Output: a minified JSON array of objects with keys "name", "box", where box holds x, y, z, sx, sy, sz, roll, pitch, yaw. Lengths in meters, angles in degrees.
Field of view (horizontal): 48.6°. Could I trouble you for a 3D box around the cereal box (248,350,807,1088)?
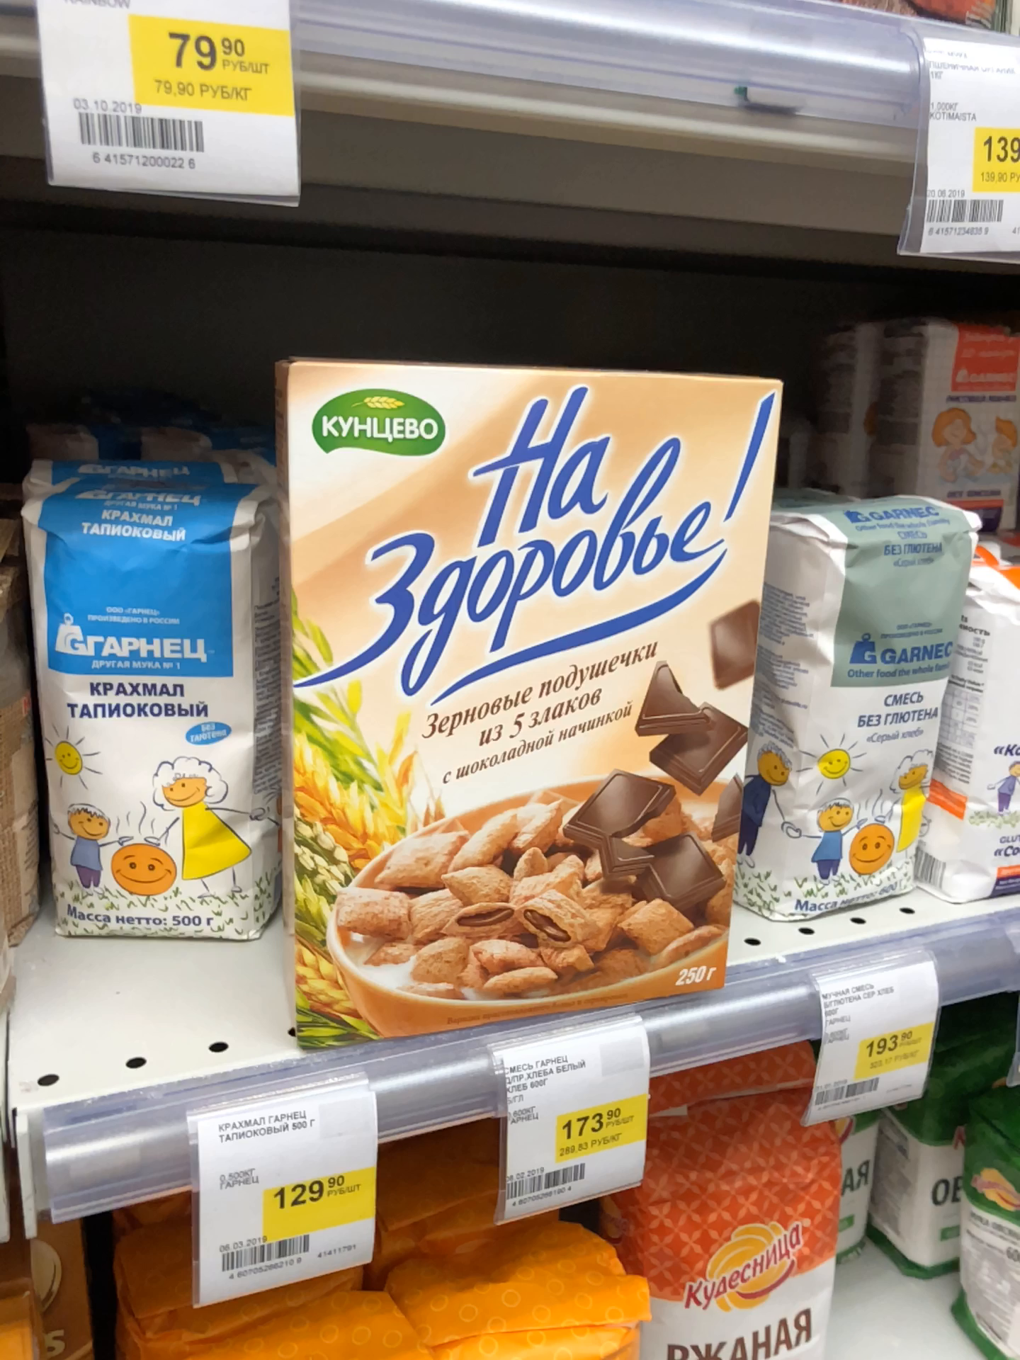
[{"name":"cereal box","box":[0.002,0.010,0.367,0.160,0.219,0.050,-3,16,-17]}]
